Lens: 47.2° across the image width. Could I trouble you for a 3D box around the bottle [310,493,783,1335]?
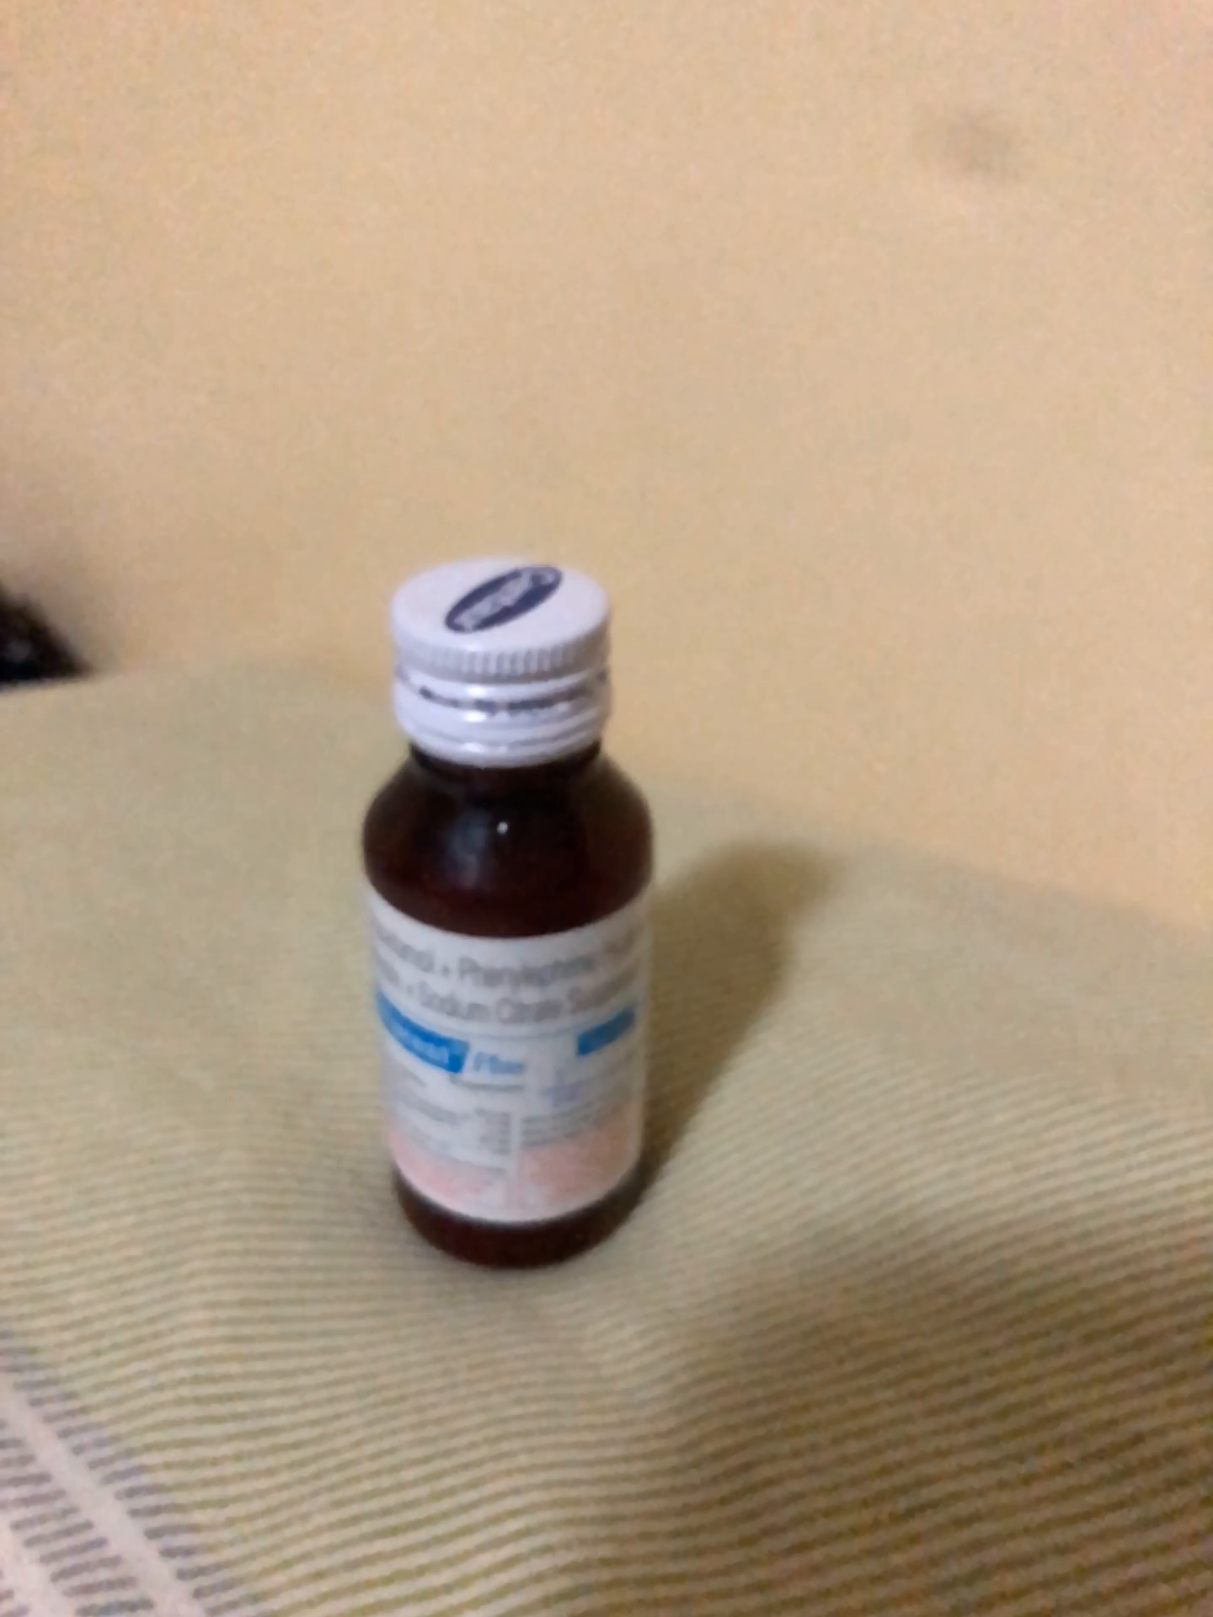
[{"bbox_3d":[-0.007,0.015,0.187,0.040,0.100,0.040,1,31,-1],"label":"bottle"}]
